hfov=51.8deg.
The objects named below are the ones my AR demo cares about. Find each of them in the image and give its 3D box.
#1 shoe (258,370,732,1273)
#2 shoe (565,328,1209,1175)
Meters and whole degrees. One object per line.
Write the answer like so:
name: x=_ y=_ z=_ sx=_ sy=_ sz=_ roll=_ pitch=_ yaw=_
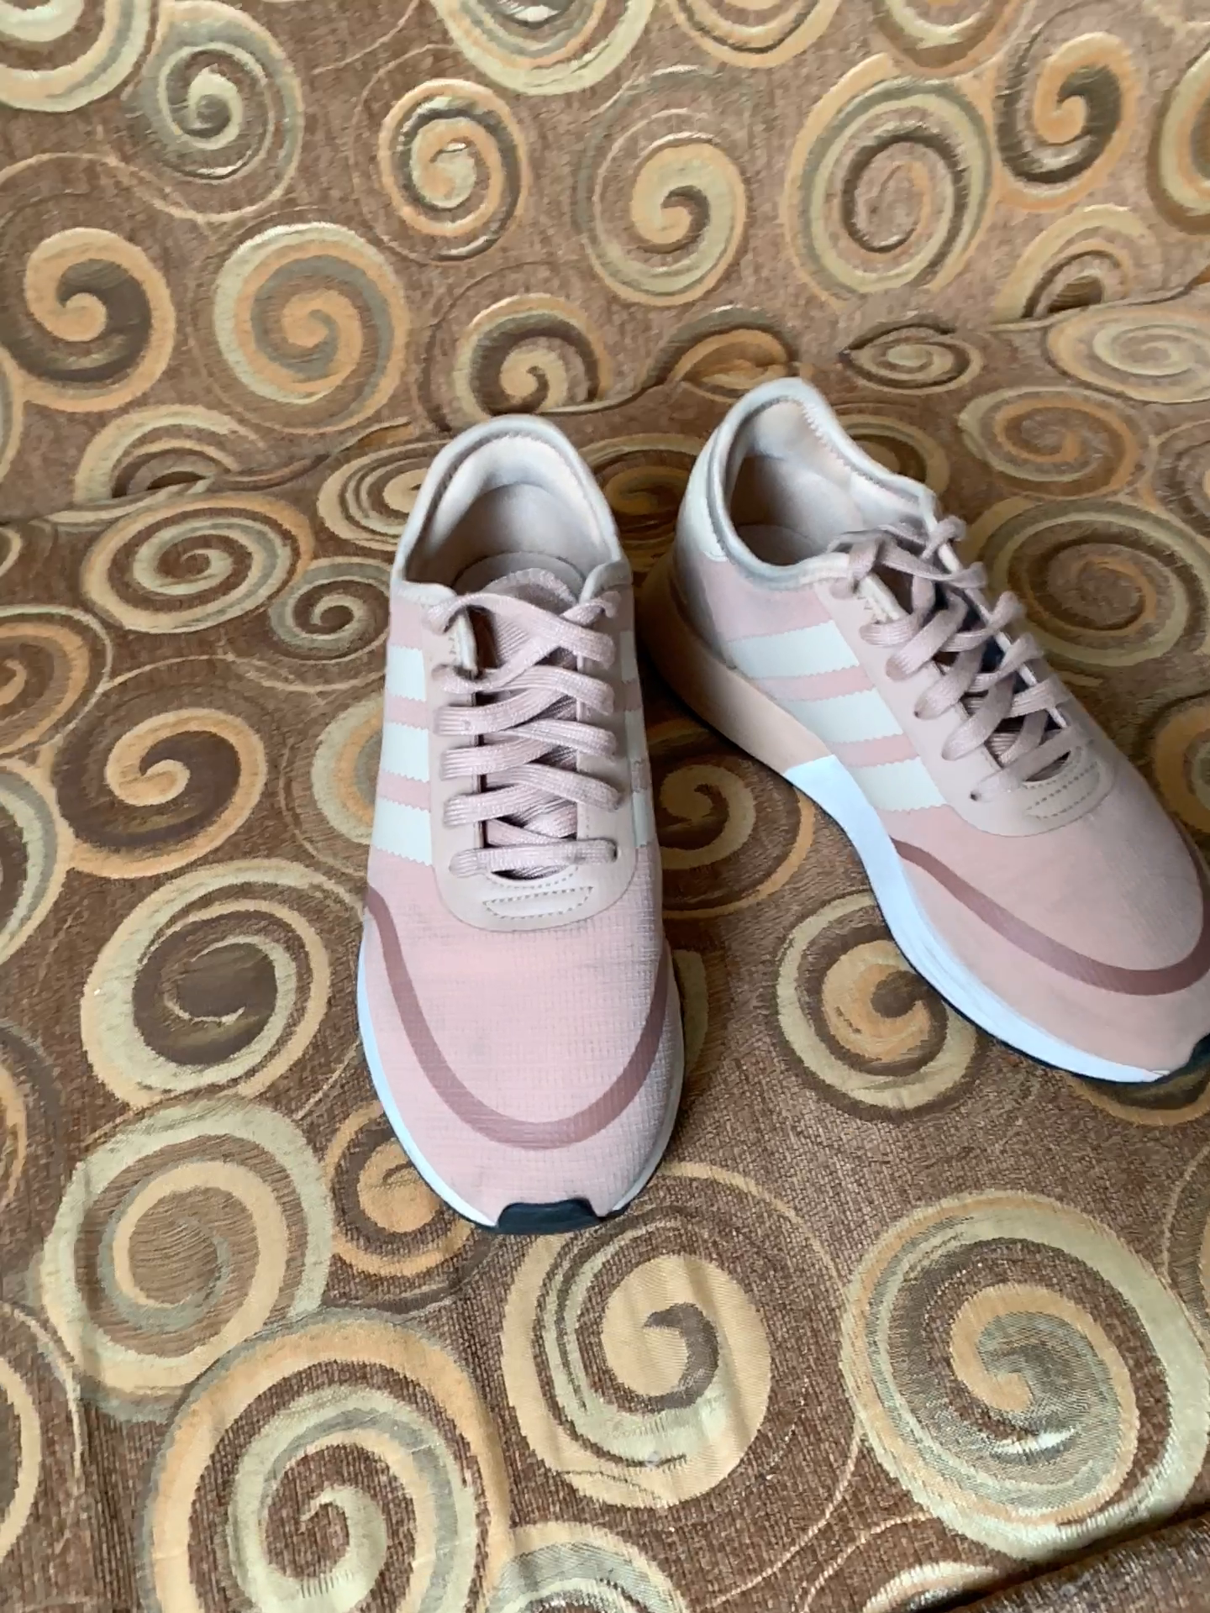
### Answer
shoe: x=-0.032 y=-0.007 z=0.367 sx=0.100 sy=0.090 sz=0.251 roll=-4 pitch=58 yaw=-2
shoe: x=0.101 y=-0.028 z=0.391 sx=0.100 sy=0.090 sz=0.251 roll=-32 pitch=63 yaw=-18
